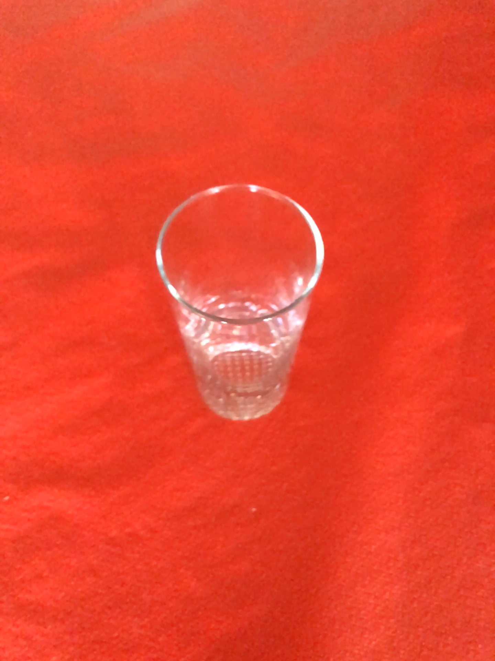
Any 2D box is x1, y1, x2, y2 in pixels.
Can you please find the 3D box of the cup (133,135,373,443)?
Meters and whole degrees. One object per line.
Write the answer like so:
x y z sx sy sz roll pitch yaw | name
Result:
0.000 -0.007 0.275 0.070 0.149 0.070 0 64 0 | cup
